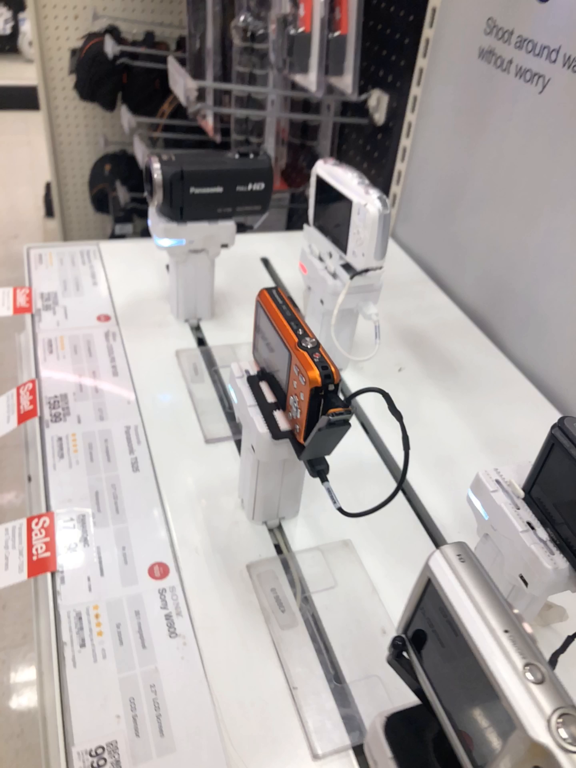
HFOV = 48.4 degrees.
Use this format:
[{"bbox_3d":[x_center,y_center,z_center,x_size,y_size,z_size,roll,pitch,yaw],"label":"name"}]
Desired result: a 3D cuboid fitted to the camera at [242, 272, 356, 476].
[{"bbox_3d":[0.001,-0.011,0.385,0.020,0.060,0.120,-9,41,-19],"label":"camera"}]
